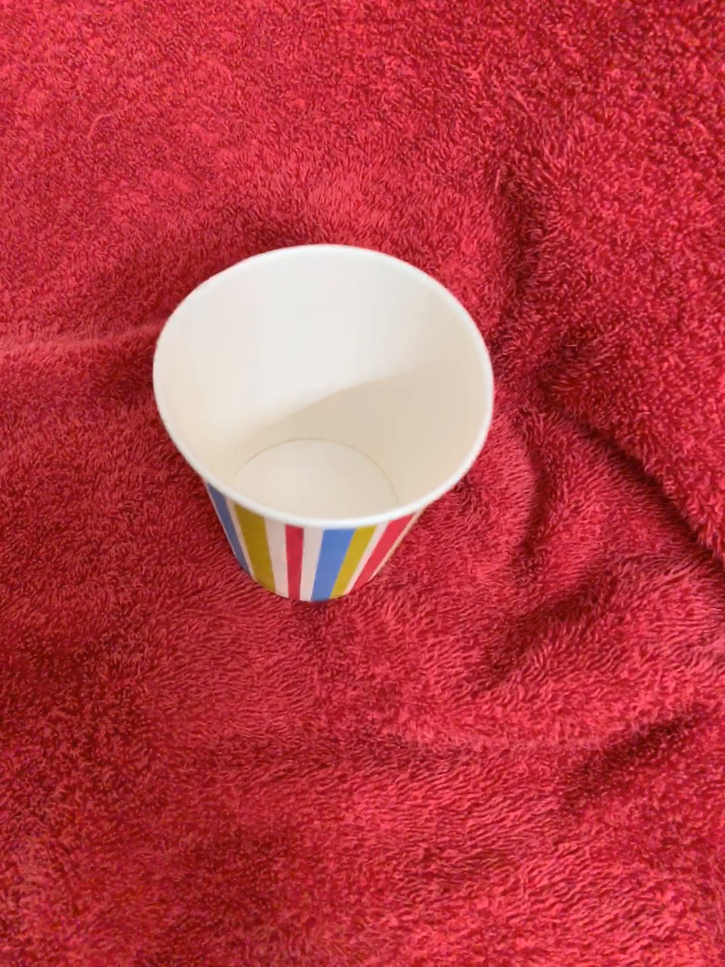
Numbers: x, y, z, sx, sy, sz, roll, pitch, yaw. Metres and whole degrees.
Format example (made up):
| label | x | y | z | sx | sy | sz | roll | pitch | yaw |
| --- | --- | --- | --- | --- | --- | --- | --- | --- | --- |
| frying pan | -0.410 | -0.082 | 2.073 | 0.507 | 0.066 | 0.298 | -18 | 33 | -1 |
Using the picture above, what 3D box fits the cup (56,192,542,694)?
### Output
| label | x | y | z | sx | sy | sz | roll | pitch | yaw |
| --- | --- | --- | --- | --- | --- | --- | --- | --- | --- |
| cup | -0.011 | -0.005 | 0.173 | 0.070 | 0.070 | 0.070 | 3 | 62 | -5 |
